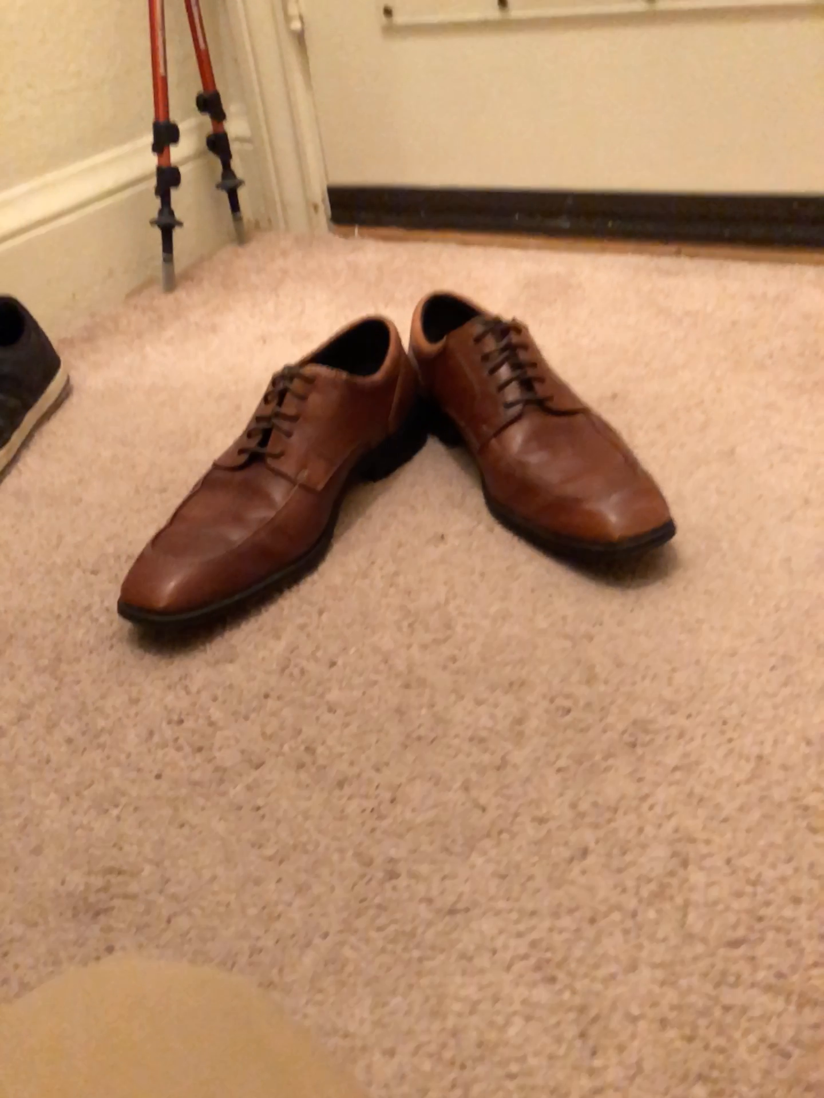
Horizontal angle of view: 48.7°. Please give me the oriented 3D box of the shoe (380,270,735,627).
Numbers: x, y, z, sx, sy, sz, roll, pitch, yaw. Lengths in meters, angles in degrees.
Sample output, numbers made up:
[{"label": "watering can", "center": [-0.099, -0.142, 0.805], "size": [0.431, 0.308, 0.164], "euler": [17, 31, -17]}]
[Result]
[{"label": "shoe", "center": [0.084, -0.090, 0.647], "size": [0.100, 0.109, 0.302], "euler": [-19, 38, -14]}]

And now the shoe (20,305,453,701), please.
[{"label": "shoe", "center": [-0.100, -0.053, 0.648], "size": [0.120, 0.119, 0.301], "euler": [15, 42, 28]}]
